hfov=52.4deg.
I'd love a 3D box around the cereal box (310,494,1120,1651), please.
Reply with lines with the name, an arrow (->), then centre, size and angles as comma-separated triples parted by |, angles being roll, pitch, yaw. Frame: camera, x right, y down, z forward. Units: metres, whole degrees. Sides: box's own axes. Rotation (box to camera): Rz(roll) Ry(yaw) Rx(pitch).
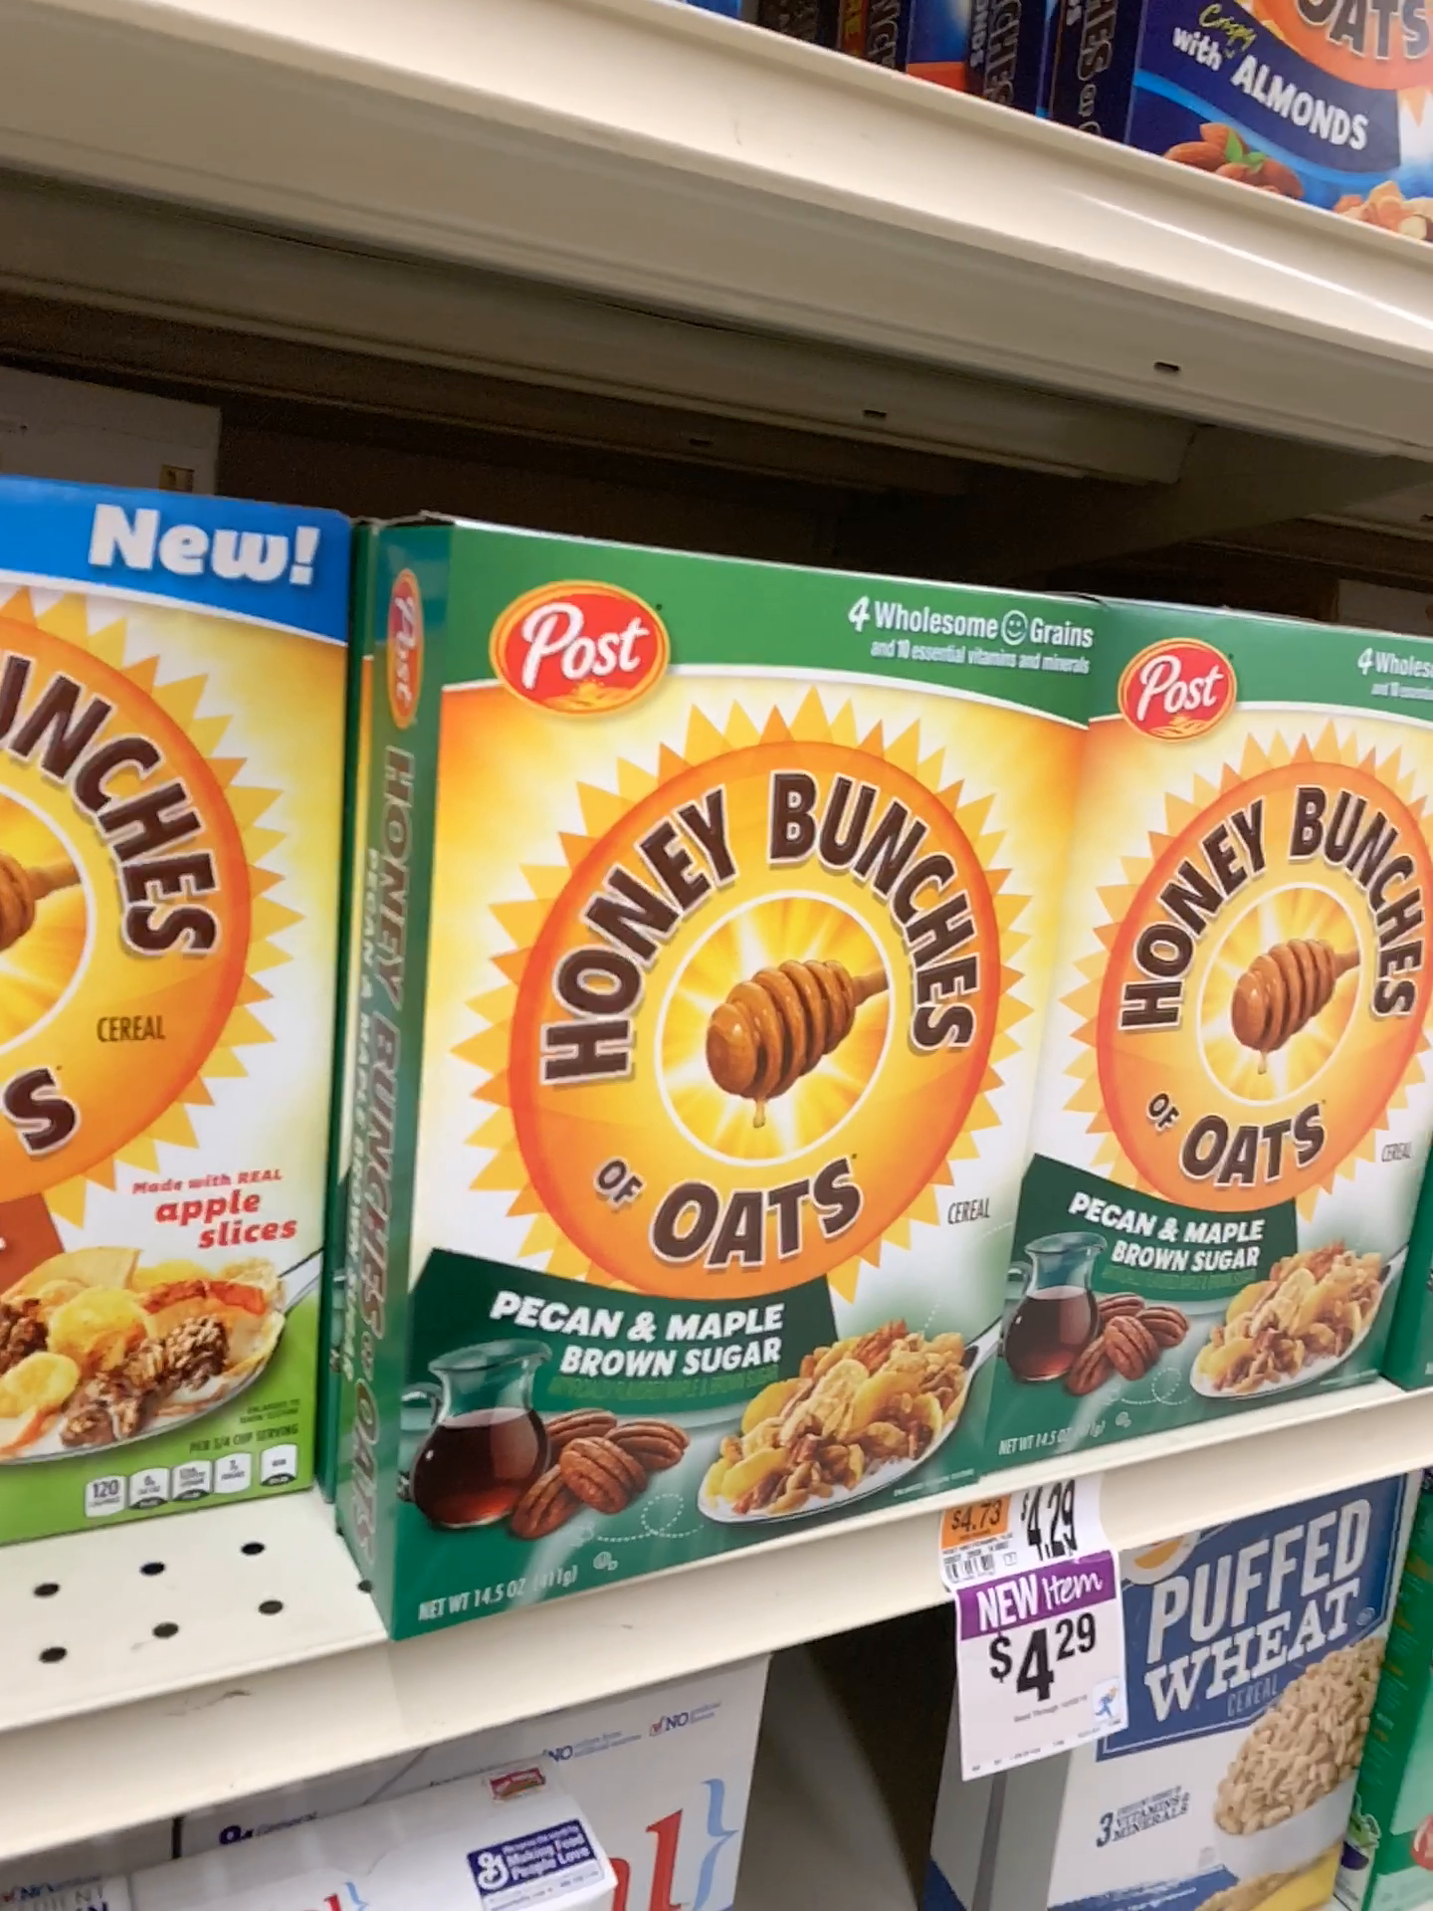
cereal box -> -0.001, 0.028, 0.413 | 0.200, 0.279, 0.060 | -2, 15, -32
